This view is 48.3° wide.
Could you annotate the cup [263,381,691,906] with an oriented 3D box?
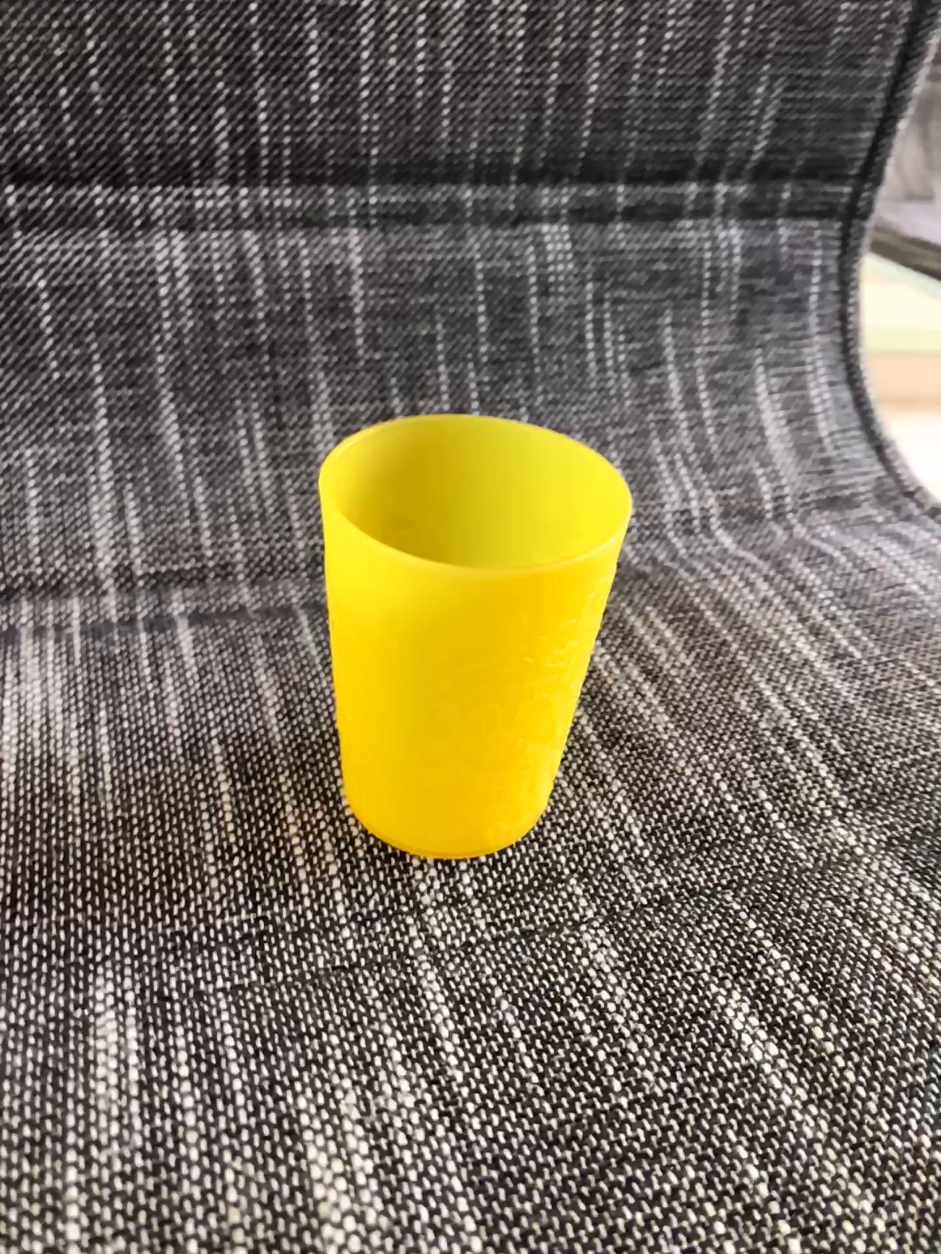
[{"bbox_3d":[-0.005,0.001,0.220,0.060,0.079,0.060,5,37,-4],"label":"cup"}]
